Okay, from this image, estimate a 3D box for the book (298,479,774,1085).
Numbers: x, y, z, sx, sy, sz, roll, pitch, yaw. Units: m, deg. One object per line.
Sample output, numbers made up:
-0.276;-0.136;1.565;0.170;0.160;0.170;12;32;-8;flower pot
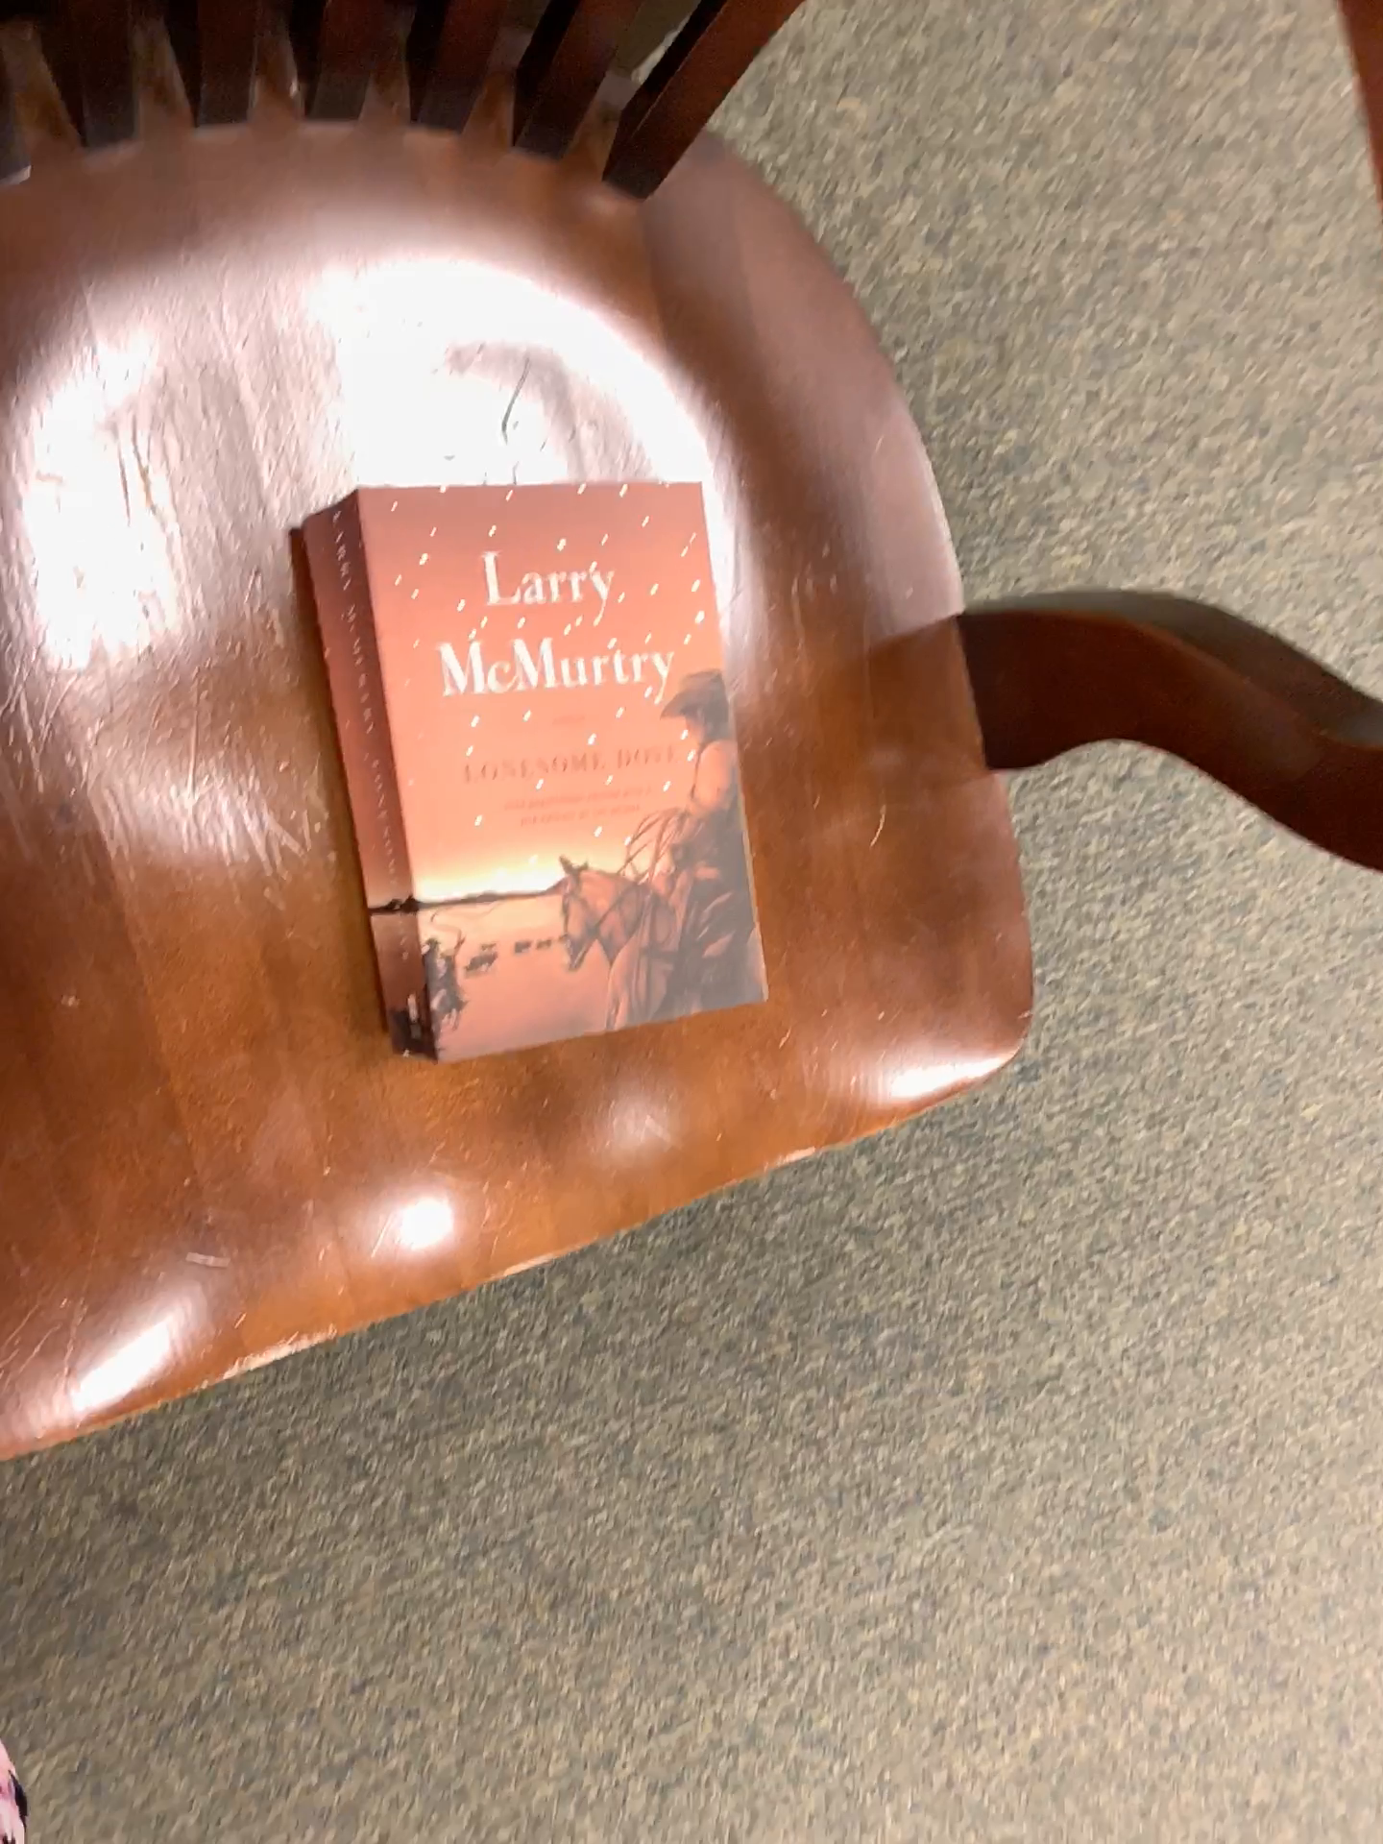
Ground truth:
-0.056;-0.055;0.531;0.140;0.060;0.200;-10;97;-24;book
